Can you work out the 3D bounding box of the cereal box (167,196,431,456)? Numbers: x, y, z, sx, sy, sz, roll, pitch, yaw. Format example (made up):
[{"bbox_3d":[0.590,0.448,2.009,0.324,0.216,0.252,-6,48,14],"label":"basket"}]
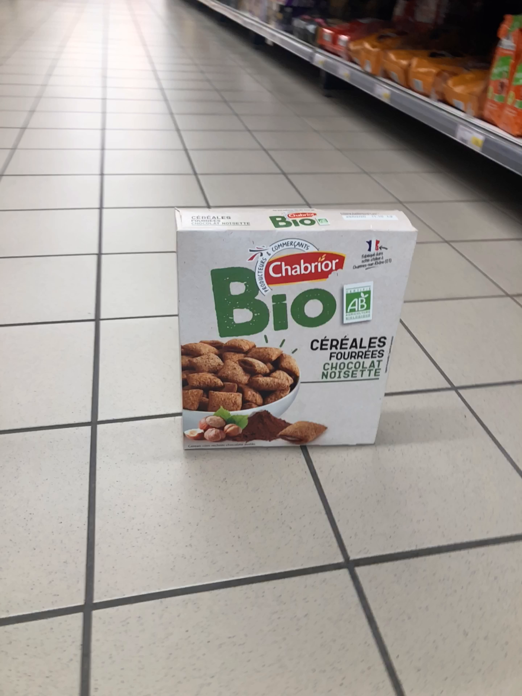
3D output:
[{"bbox_3d":[0.025,-0.013,0.537,0.210,0.239,0.060,0,31,-5],"label":"cereal box"}]
